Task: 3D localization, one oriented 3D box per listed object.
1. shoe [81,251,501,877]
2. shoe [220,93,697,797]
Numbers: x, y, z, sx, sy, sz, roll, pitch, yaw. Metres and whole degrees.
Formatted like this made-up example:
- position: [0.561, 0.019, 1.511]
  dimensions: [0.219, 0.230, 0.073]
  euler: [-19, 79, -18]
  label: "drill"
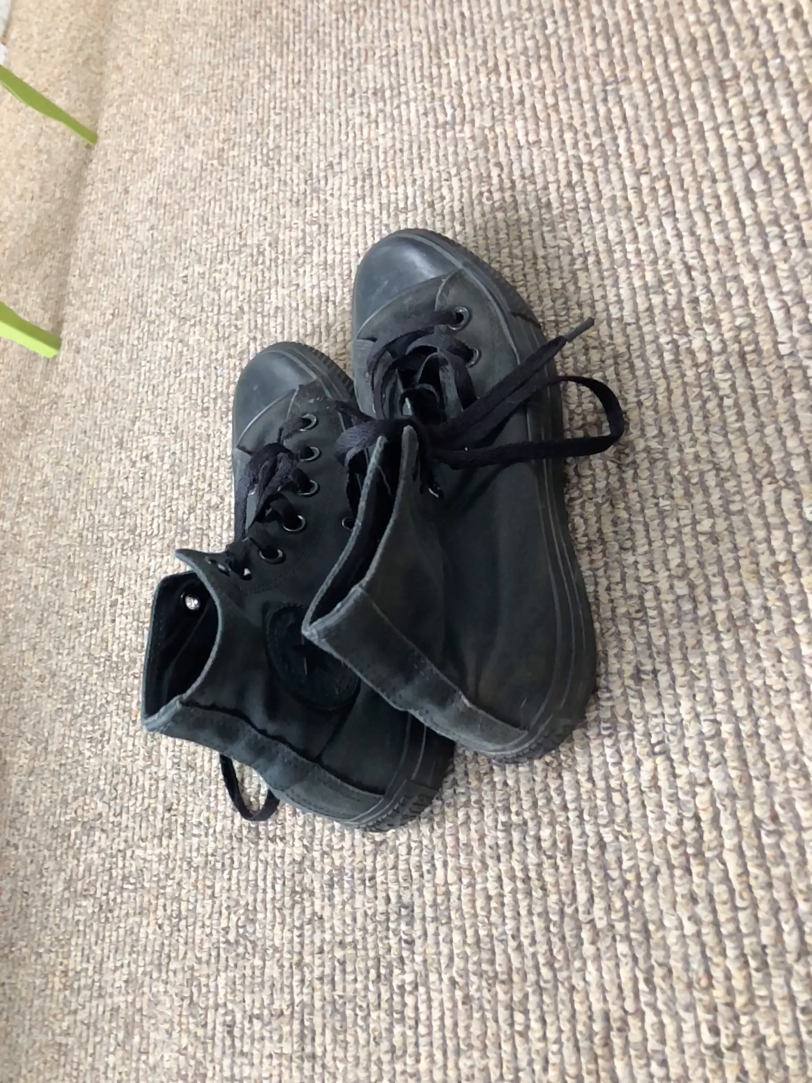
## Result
- position: [-0.060, 0.010, 0.394]
  dimensions: [0.088, 0.127, 0.237]
  euler: [-33, 53, 26]
  label: "shoe"
- position: [0.011, -0.038, 0.362]
  dimensions: [0.088, 0.127, 0.244]
  euler: [-30, 54, 28]
  label: "shoe"
